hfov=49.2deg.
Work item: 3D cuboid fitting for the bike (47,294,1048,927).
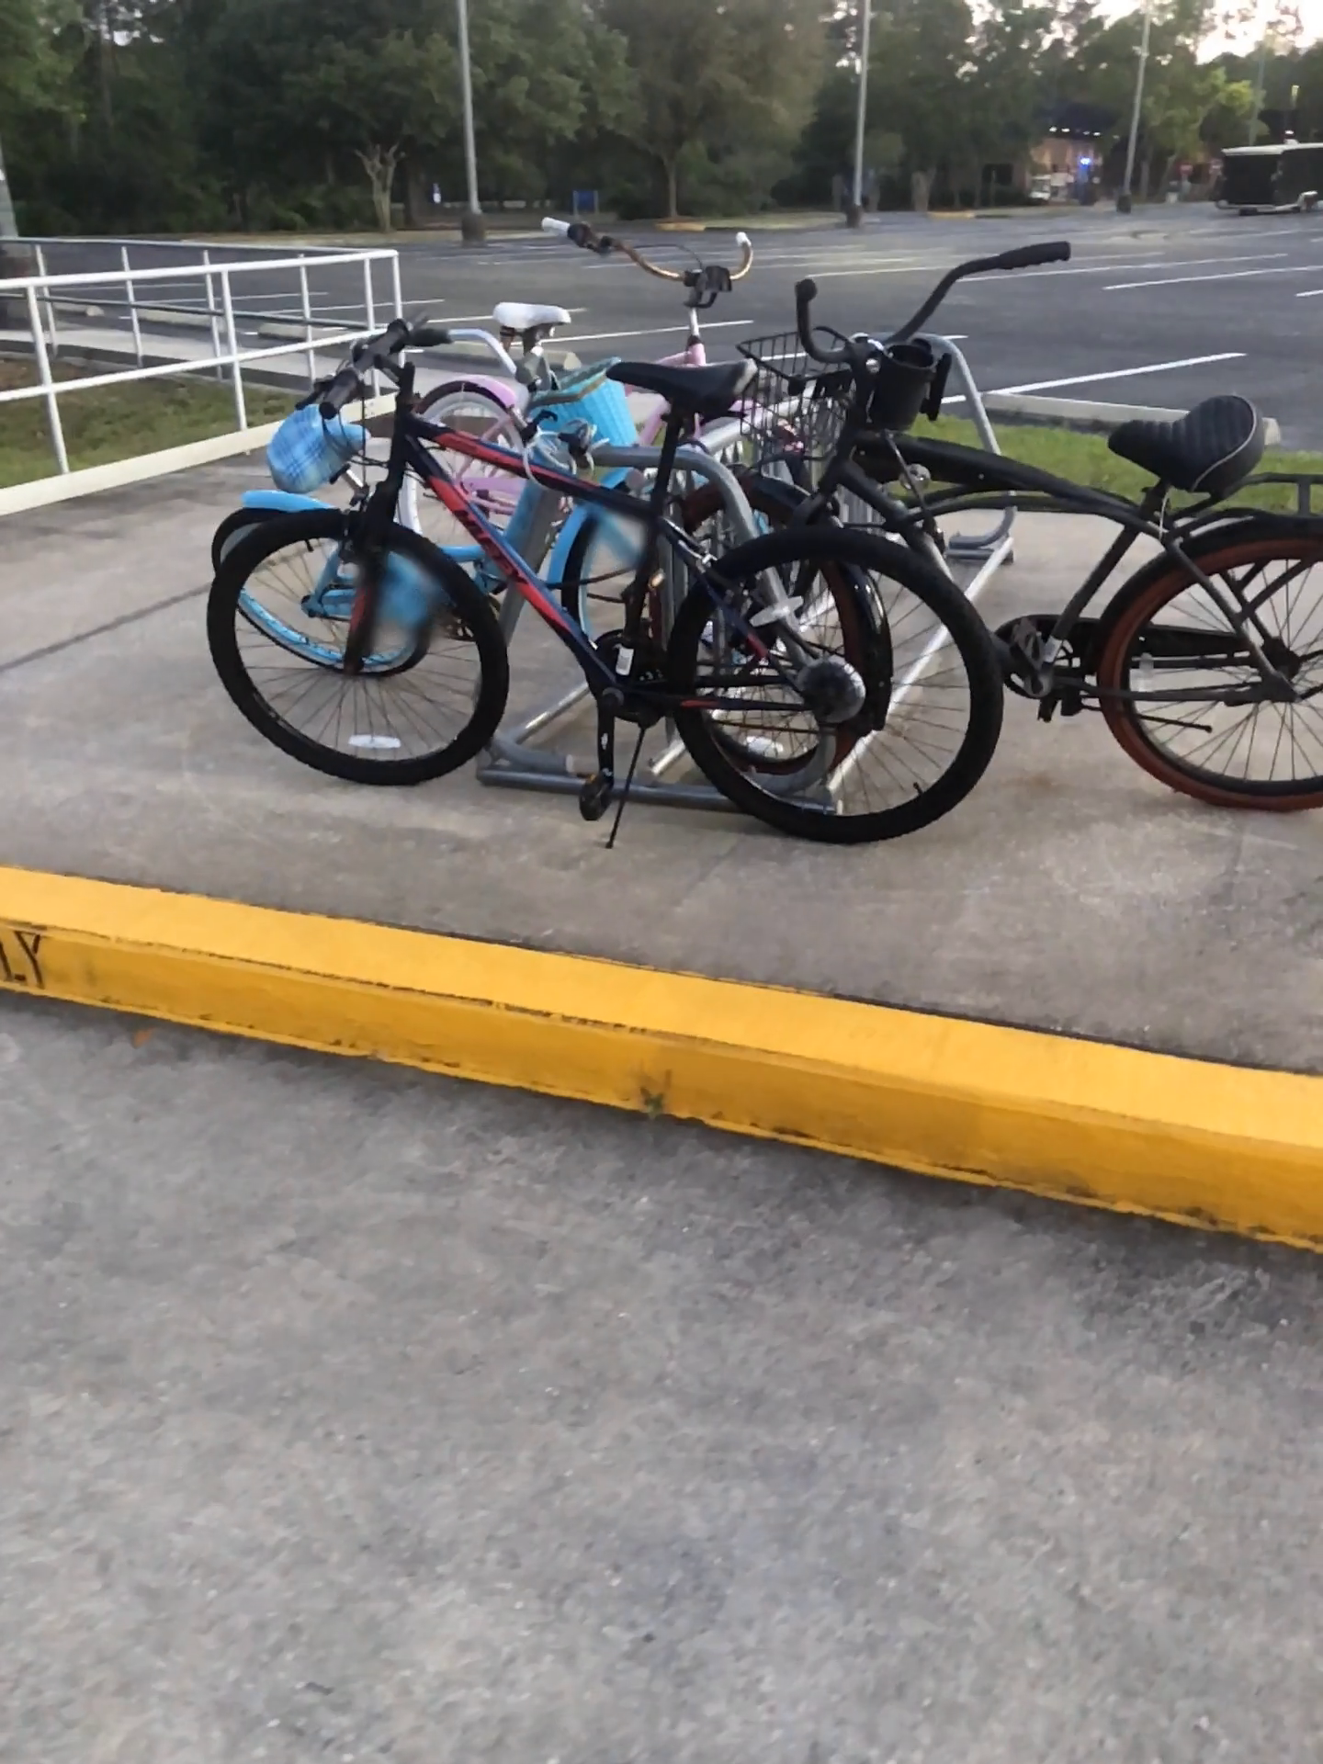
[{"bbox_3d":[-0.173,-0.580,2.749,1.630,0.932,0.627,7,26,15],"label":"bike"}]
